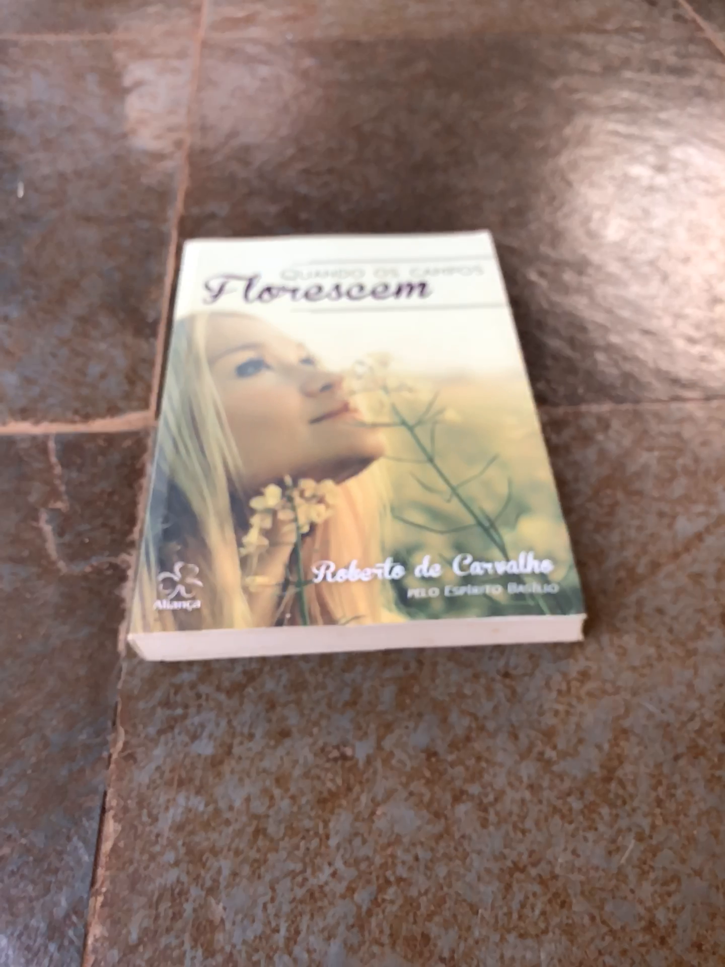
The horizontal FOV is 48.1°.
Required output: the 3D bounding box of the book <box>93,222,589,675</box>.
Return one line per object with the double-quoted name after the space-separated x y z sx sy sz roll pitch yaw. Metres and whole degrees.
-0.012 -0.033 0.343 0.161 0.022 0.226 -3 51 -2 "book"
